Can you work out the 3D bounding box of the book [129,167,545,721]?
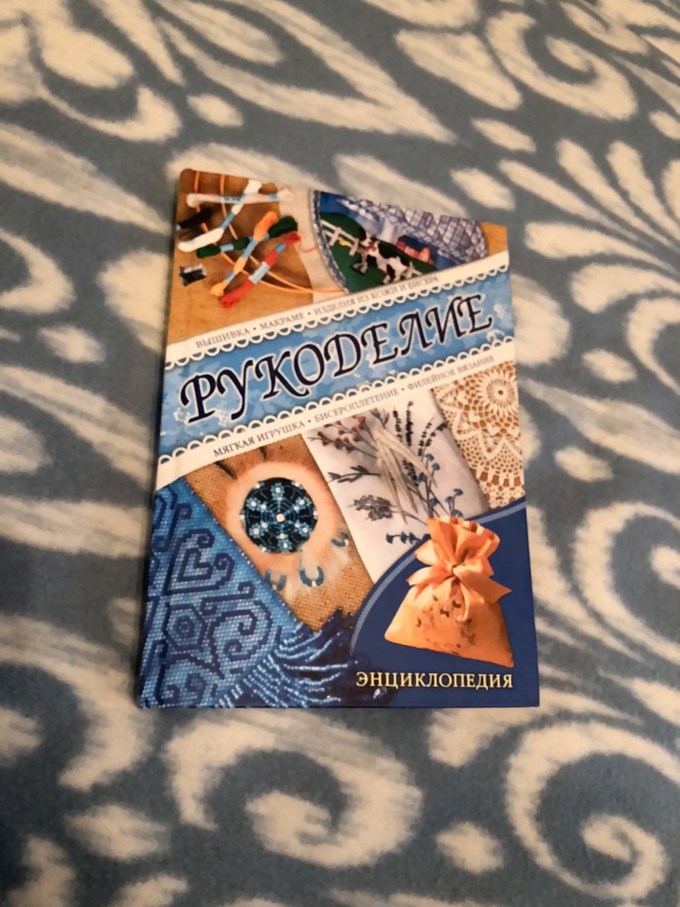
[{"bbox_3d":[0.003,-0.007,0.341,0.168,0.020,0.238,5,72,-15],"label":"book"}]
